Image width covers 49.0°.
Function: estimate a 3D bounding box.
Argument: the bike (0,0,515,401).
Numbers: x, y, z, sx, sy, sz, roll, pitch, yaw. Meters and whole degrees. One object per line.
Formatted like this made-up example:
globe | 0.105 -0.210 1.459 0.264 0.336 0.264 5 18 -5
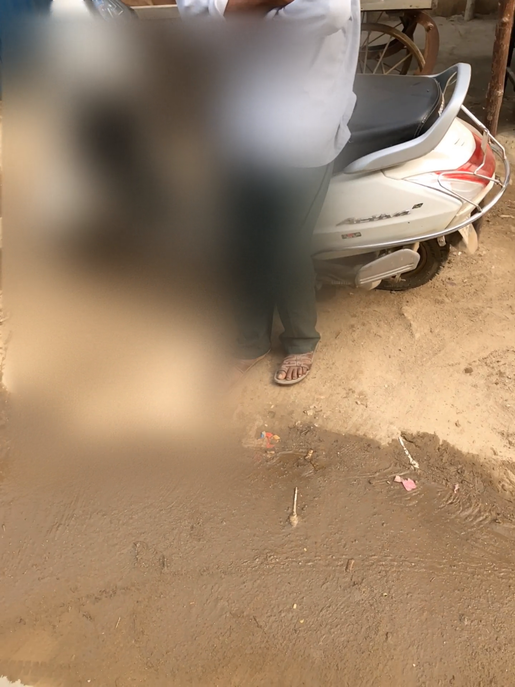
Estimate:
bike | -0.175 -0.518 1.803 1.574 1.112 0.660 6 42 13
